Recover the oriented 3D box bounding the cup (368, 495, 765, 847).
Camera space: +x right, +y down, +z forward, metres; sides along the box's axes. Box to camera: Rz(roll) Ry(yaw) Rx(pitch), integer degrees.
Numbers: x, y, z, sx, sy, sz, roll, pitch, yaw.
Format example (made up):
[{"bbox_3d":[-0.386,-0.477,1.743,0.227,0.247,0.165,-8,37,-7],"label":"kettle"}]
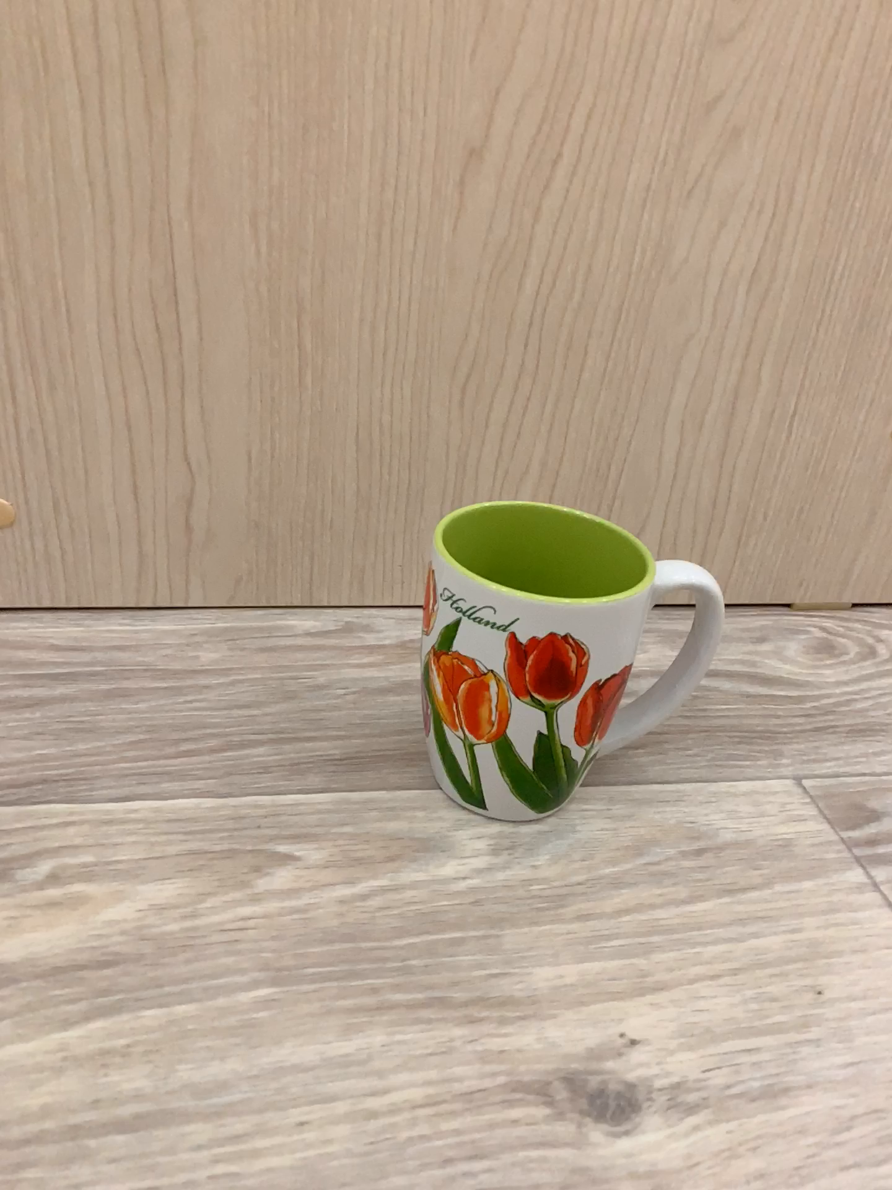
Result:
[{"bbox_3d":[0.040,0.025,0.367,0.118,0.101,0.084,-3,30,-18],"label":"cup"}]
